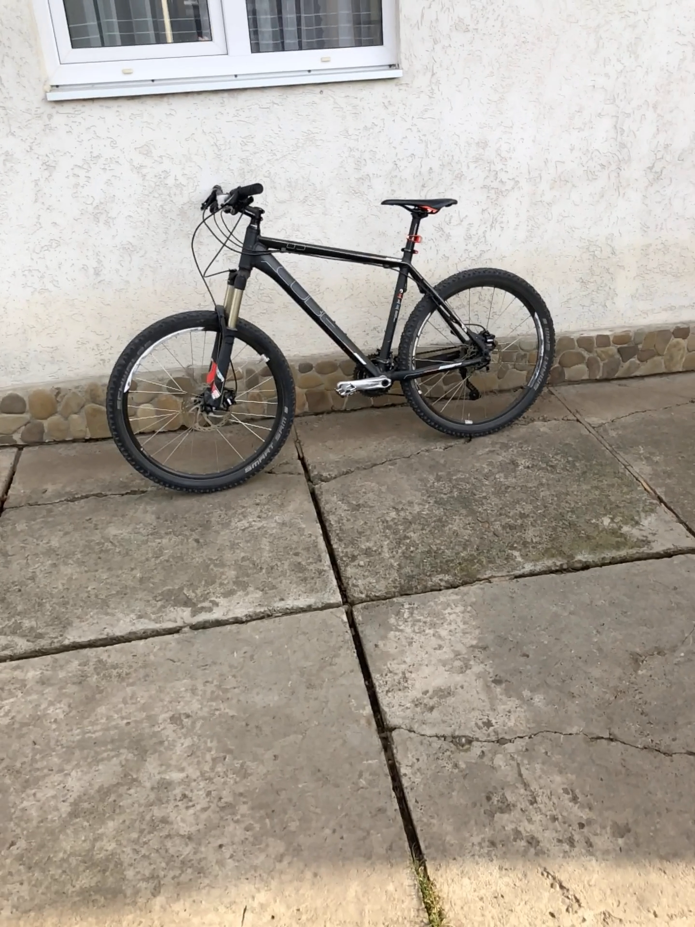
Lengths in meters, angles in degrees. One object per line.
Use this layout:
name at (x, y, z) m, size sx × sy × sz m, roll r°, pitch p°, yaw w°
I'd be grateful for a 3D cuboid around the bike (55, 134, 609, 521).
bike at (-0.037, -0.579, 2.897) m, size 1.773 × 1.090 × 0.690 m, roll -10°, pitch 30°, yaw -14°
